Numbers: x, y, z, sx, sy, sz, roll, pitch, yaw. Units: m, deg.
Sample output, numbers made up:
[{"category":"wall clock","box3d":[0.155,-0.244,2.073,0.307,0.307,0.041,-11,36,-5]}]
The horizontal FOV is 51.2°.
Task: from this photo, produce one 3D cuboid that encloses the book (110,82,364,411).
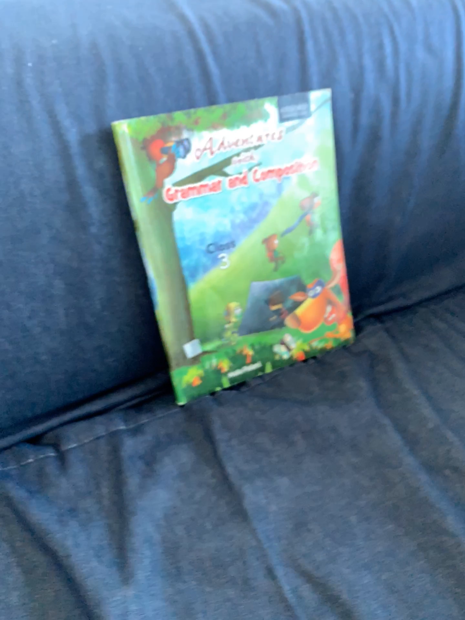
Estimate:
[{"category":"book","box3d":[0.021,-0.060,0.472,0.212,0.269,0.030,-17,20,-18]}]
